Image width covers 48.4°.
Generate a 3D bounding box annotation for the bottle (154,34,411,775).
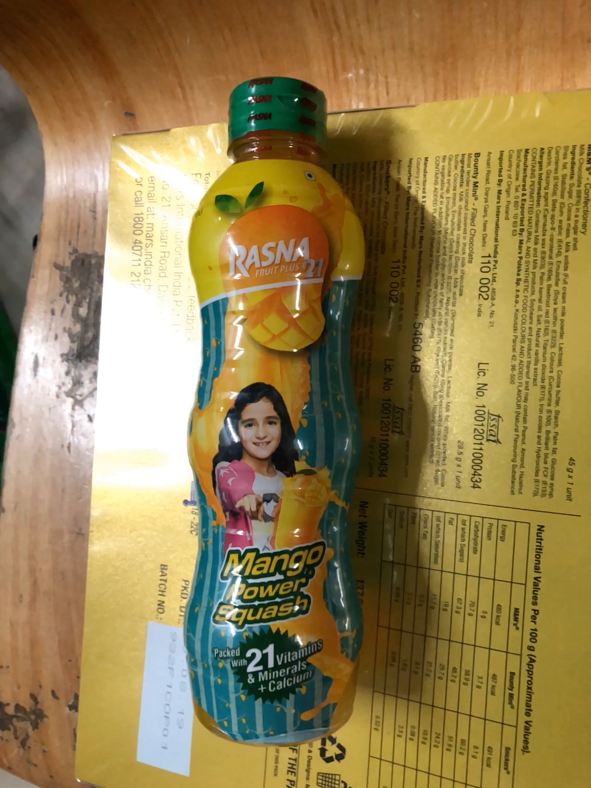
[{"bbox_3d":[-0.005,0.004,0.259,0.080,0.050,0.260,3,91,2],"label":"bottle"}]
